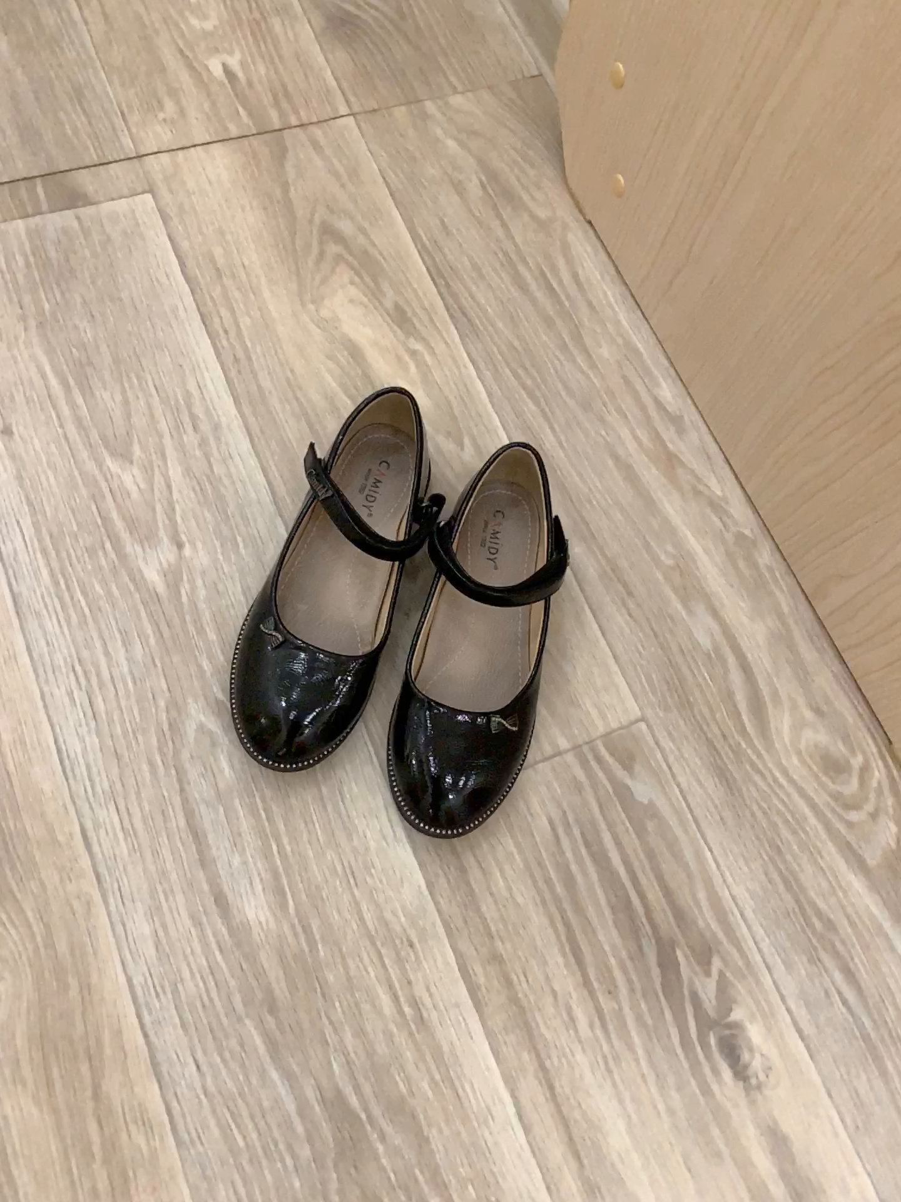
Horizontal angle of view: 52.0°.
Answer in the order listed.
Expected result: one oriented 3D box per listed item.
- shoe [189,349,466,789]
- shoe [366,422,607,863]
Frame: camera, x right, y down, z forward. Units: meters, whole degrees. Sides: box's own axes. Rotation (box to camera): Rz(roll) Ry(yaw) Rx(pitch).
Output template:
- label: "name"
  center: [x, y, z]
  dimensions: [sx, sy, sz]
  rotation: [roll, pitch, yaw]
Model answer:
- label: "shoe"
  center: [-0.073, -0.020, 0.595]
  dimensions: [0.090, 0.100, 0.250]
  rotation: [17, 68, -2]
- label: "shoe"
  center: [0.023, 0.027, 0.593]
  dimensions: [0.090, 0.100, 0.250]
  rotation: [15, 68, -3]
